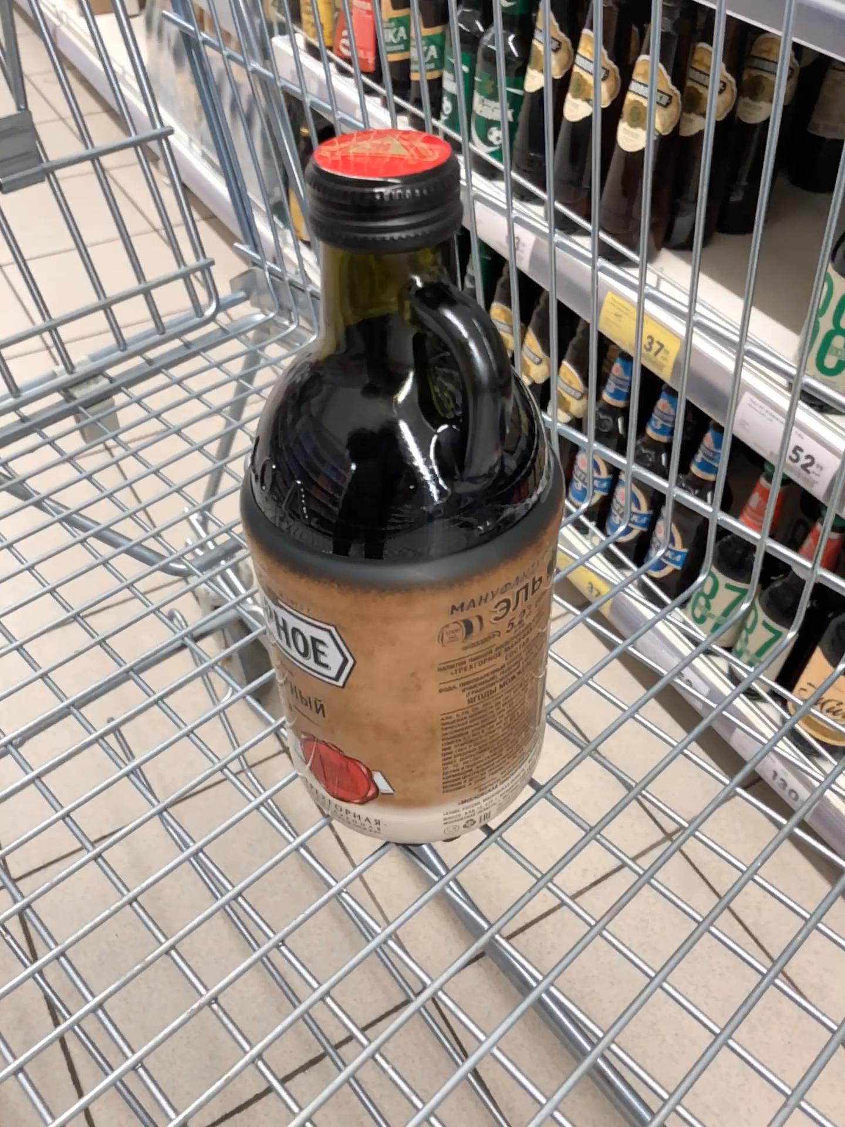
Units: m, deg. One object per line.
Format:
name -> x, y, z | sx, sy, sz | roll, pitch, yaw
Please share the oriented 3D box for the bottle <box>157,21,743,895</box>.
bottle -> -0.006, -0.017, 0.280 | 0.100, 0.229, 0.111 | -9, 45, -11
